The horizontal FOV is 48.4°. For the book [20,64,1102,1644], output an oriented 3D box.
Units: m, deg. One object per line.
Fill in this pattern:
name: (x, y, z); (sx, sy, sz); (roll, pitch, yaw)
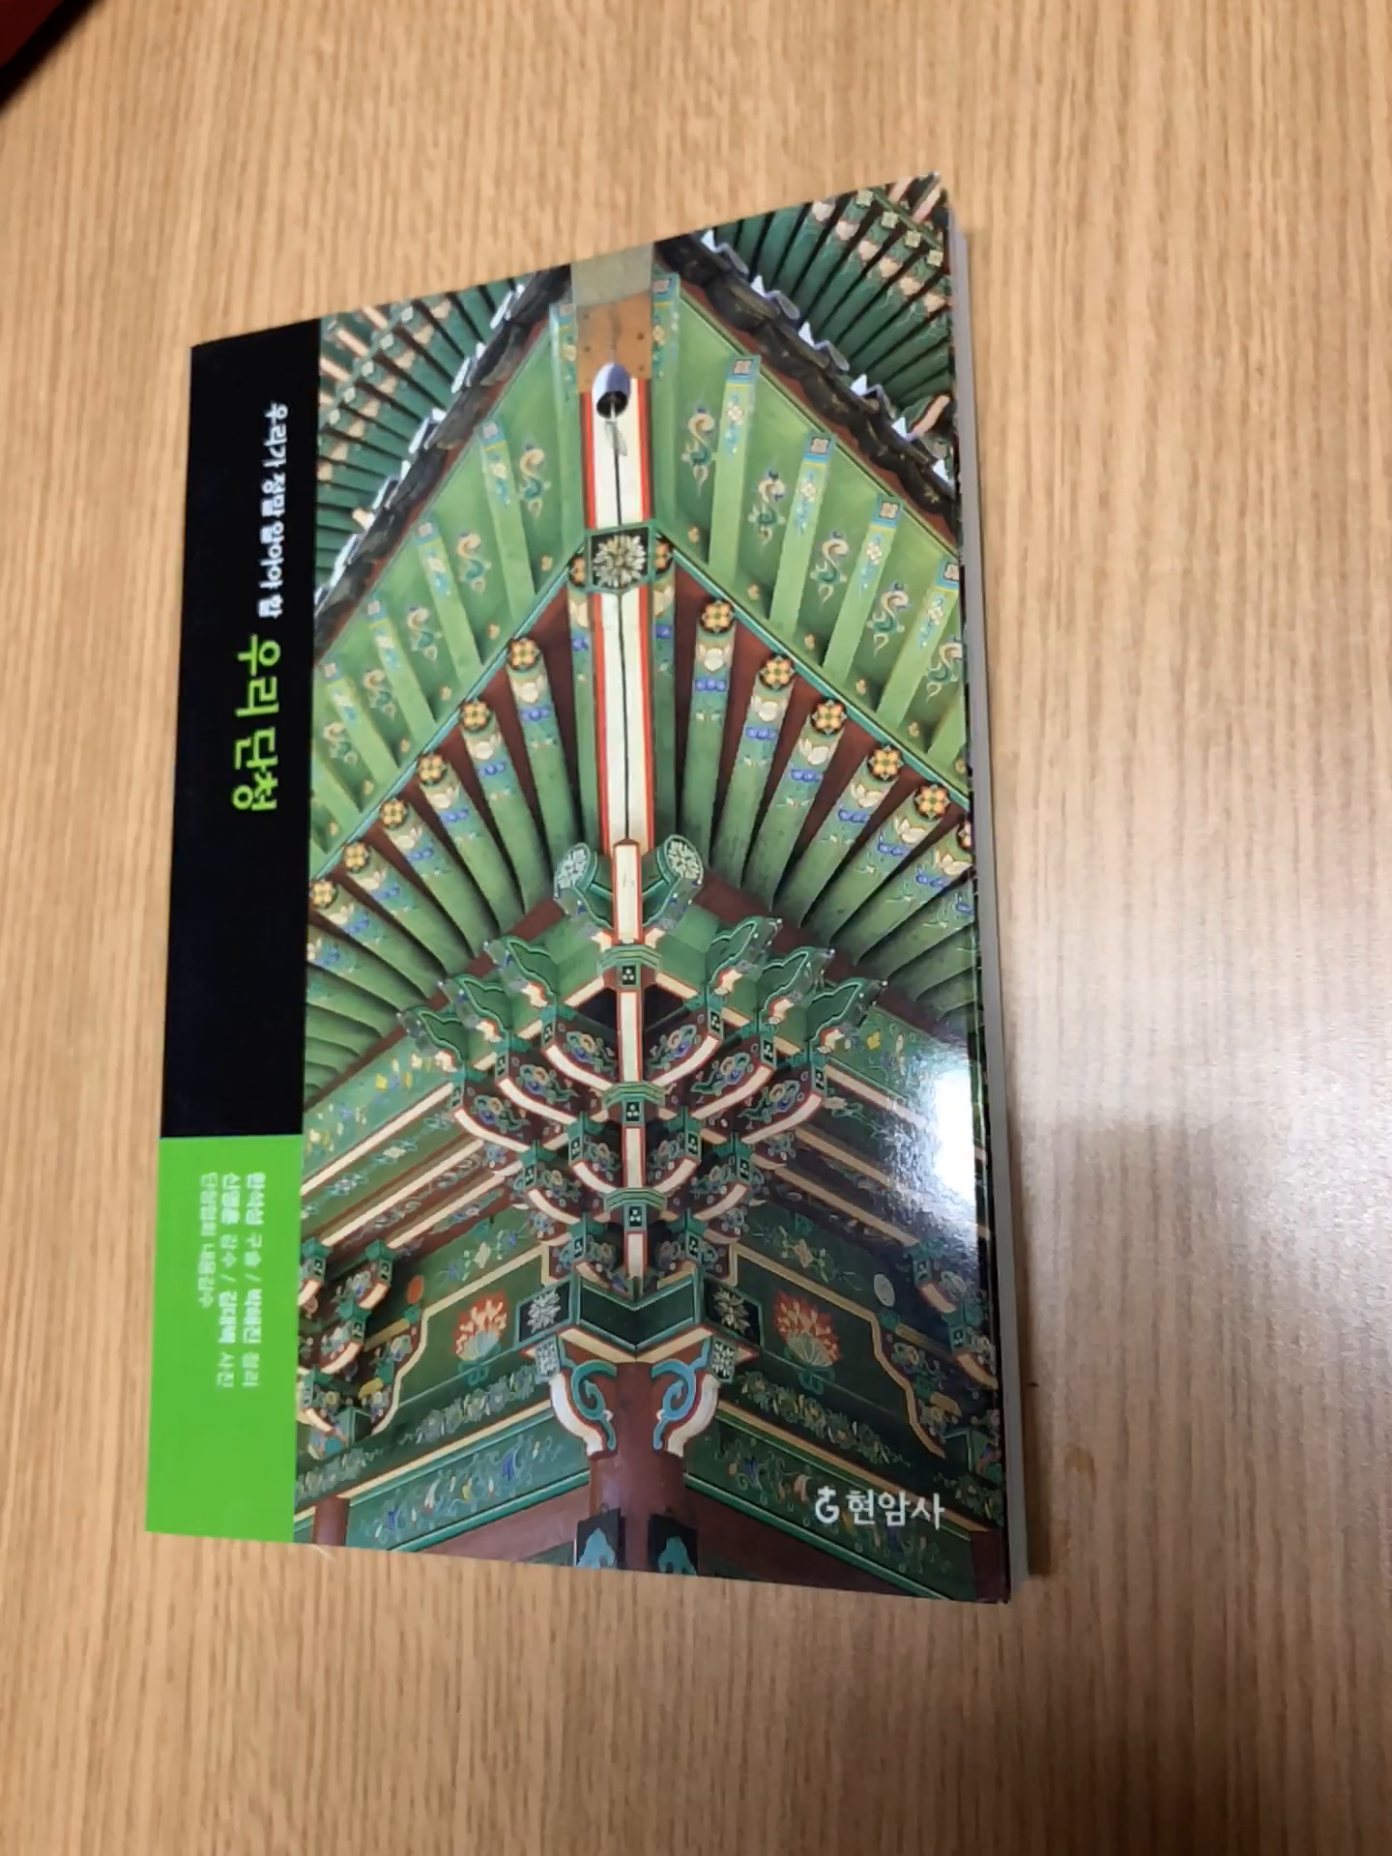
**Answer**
book: (-0.027, -0.010, 0.242); (0.160, 0.030, 0.210); (-4, 81, 19)
